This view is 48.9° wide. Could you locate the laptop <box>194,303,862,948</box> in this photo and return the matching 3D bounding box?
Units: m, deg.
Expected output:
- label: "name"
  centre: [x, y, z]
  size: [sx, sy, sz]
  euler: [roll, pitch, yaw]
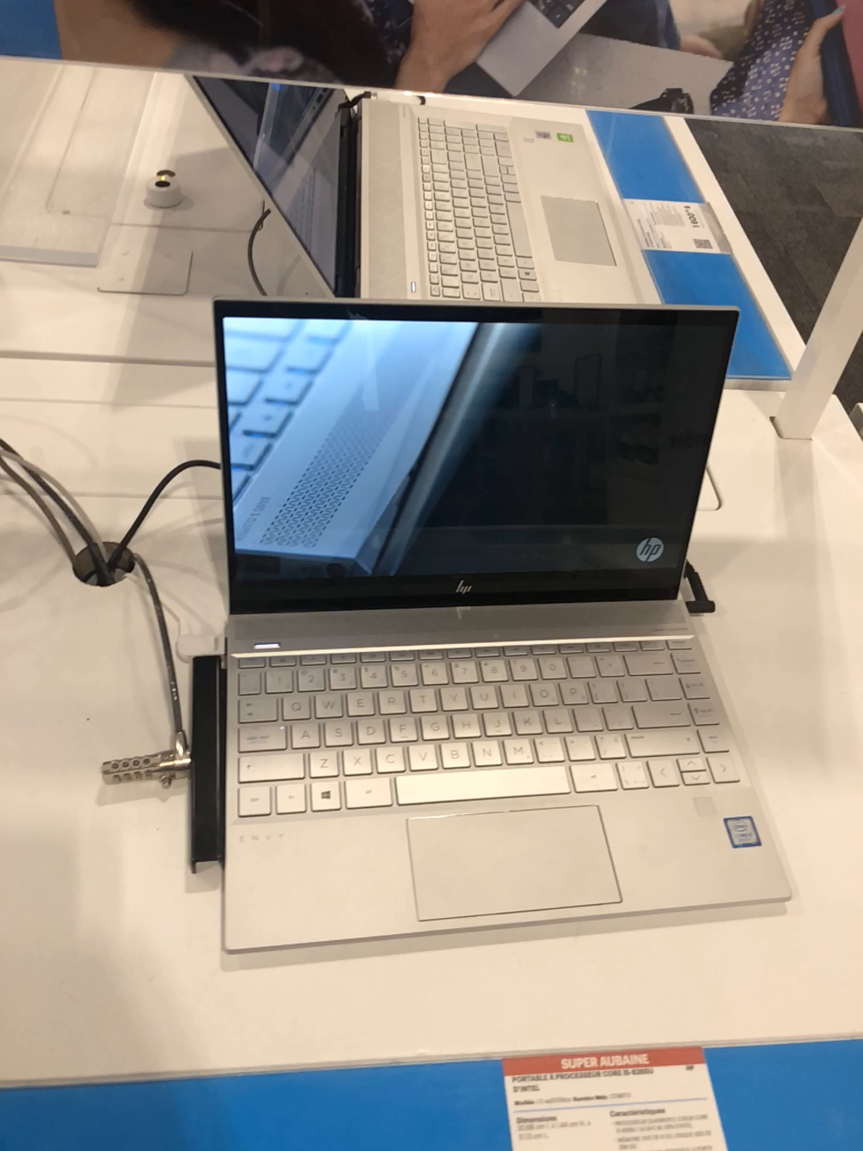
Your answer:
- label: "laptop"
  centre: [0.039, 0.014, 0.511]
  size: [0.298, 0.182, 0.273]
  euler: [-2, 50, -10]
